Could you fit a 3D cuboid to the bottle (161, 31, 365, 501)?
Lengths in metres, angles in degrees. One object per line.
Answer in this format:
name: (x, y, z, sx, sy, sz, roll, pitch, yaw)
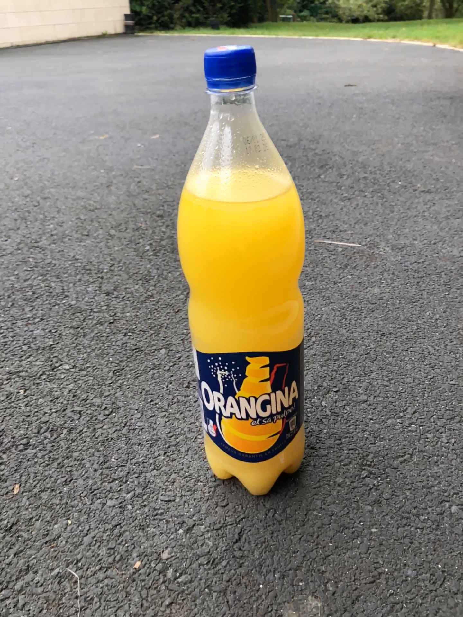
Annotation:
bottle: (0.018, -0.011, 0.380, 0.100, 0.338, 0.101, -1, 31, 1)
